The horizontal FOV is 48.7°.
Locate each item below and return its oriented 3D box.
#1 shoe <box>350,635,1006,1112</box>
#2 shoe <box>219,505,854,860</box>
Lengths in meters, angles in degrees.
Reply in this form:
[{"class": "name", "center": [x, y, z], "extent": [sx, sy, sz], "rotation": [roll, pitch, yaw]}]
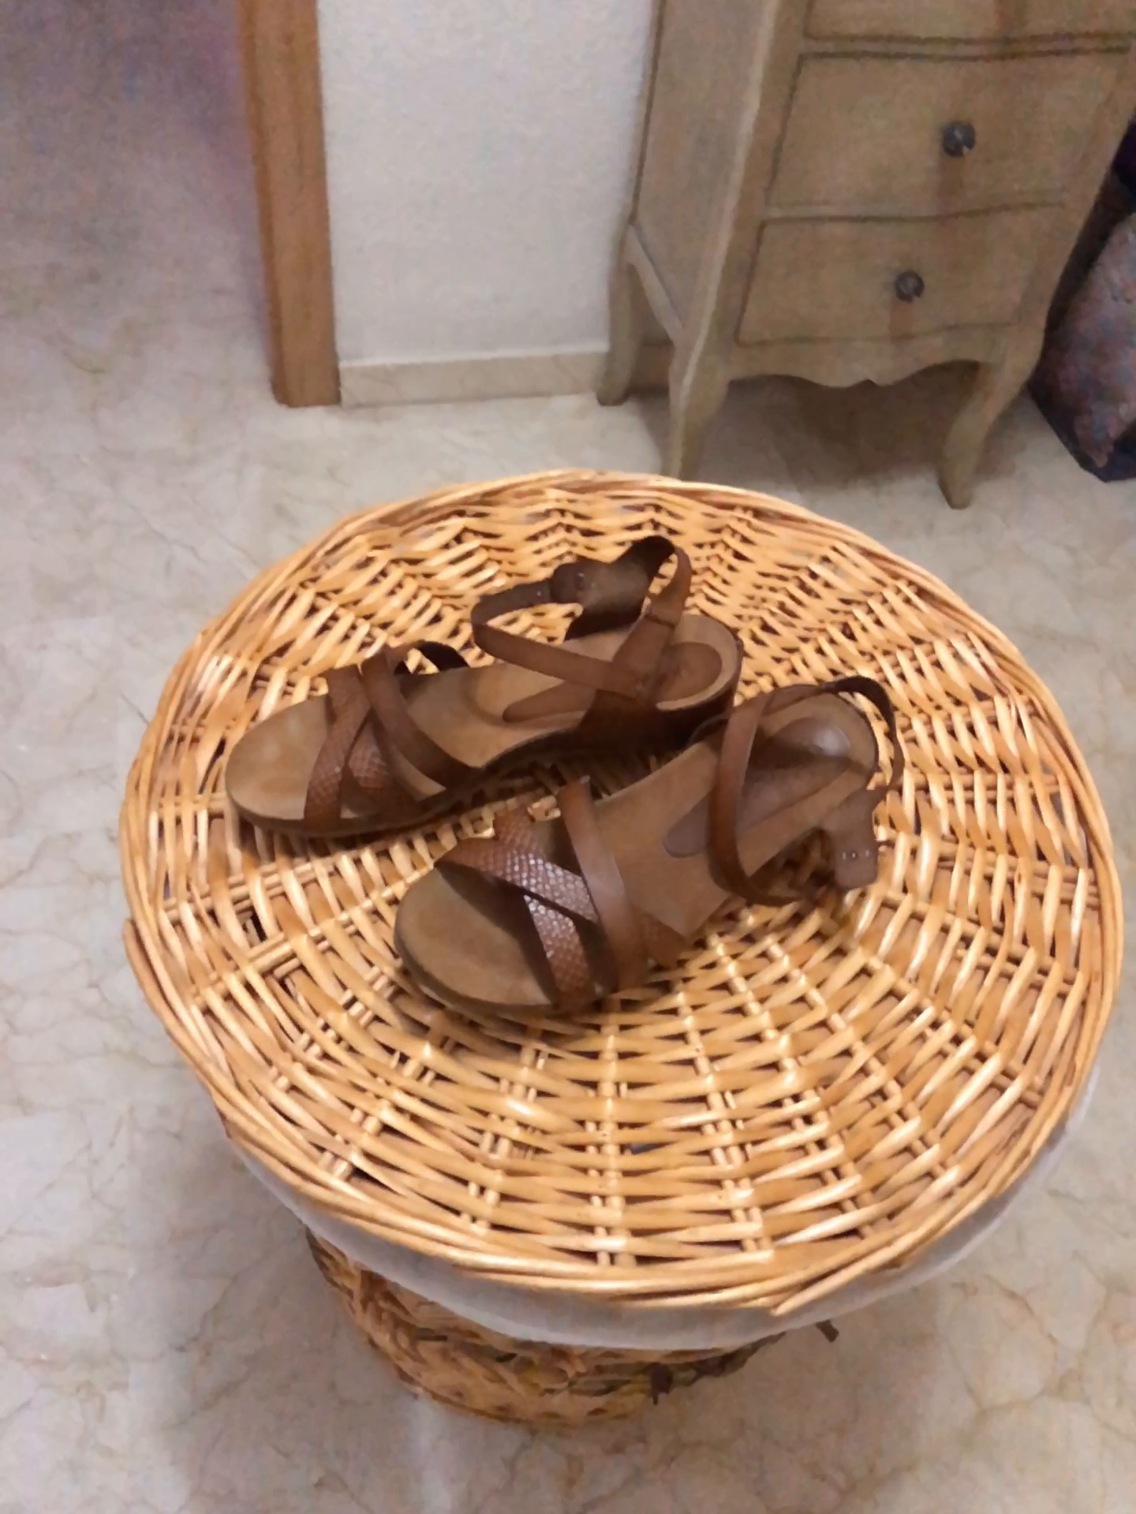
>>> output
[{"class": "shoe", "center": [0.052, 0.043, 0.570], "extent": [0.280, 0.060, 0.100], "rotation": [-22, 58, -22]}, {"class": "shoe", "center": [-0.017, -0.038, 0.608], "extent": [0.280, 0.070, 0.100], "rotation": [-11, 54, -5]}]
